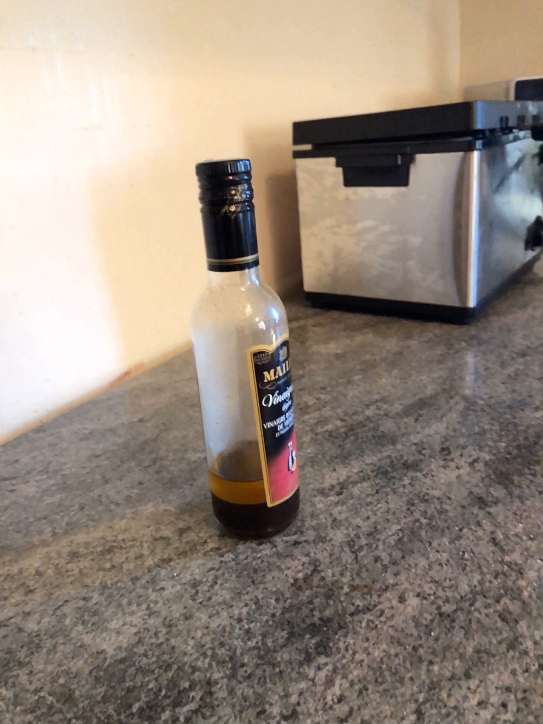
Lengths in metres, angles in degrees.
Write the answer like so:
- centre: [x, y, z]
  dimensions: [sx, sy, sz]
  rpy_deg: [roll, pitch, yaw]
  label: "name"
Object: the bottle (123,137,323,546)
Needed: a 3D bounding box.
- centre: [-0.021, -0.012, 0.368]
  dimensions: [0.070, 0.229, 0.070]
  rpy_deg: [-5, 19, 2]
  label: "bottle"
